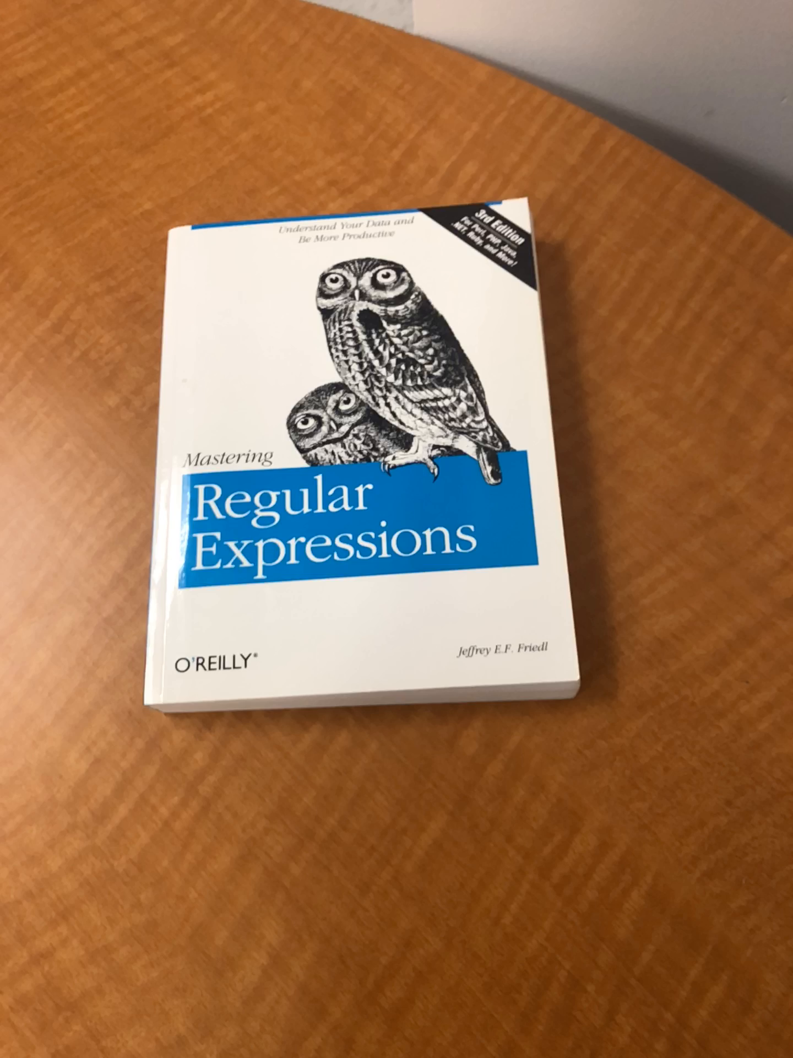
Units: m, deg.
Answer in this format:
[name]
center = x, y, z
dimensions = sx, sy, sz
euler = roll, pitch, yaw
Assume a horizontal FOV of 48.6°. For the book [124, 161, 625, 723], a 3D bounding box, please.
[book]
center = -0.013, -0.047, 0.413
dimensions = 0.200, 0.040, 0.261
euler = -3, 70, 3
